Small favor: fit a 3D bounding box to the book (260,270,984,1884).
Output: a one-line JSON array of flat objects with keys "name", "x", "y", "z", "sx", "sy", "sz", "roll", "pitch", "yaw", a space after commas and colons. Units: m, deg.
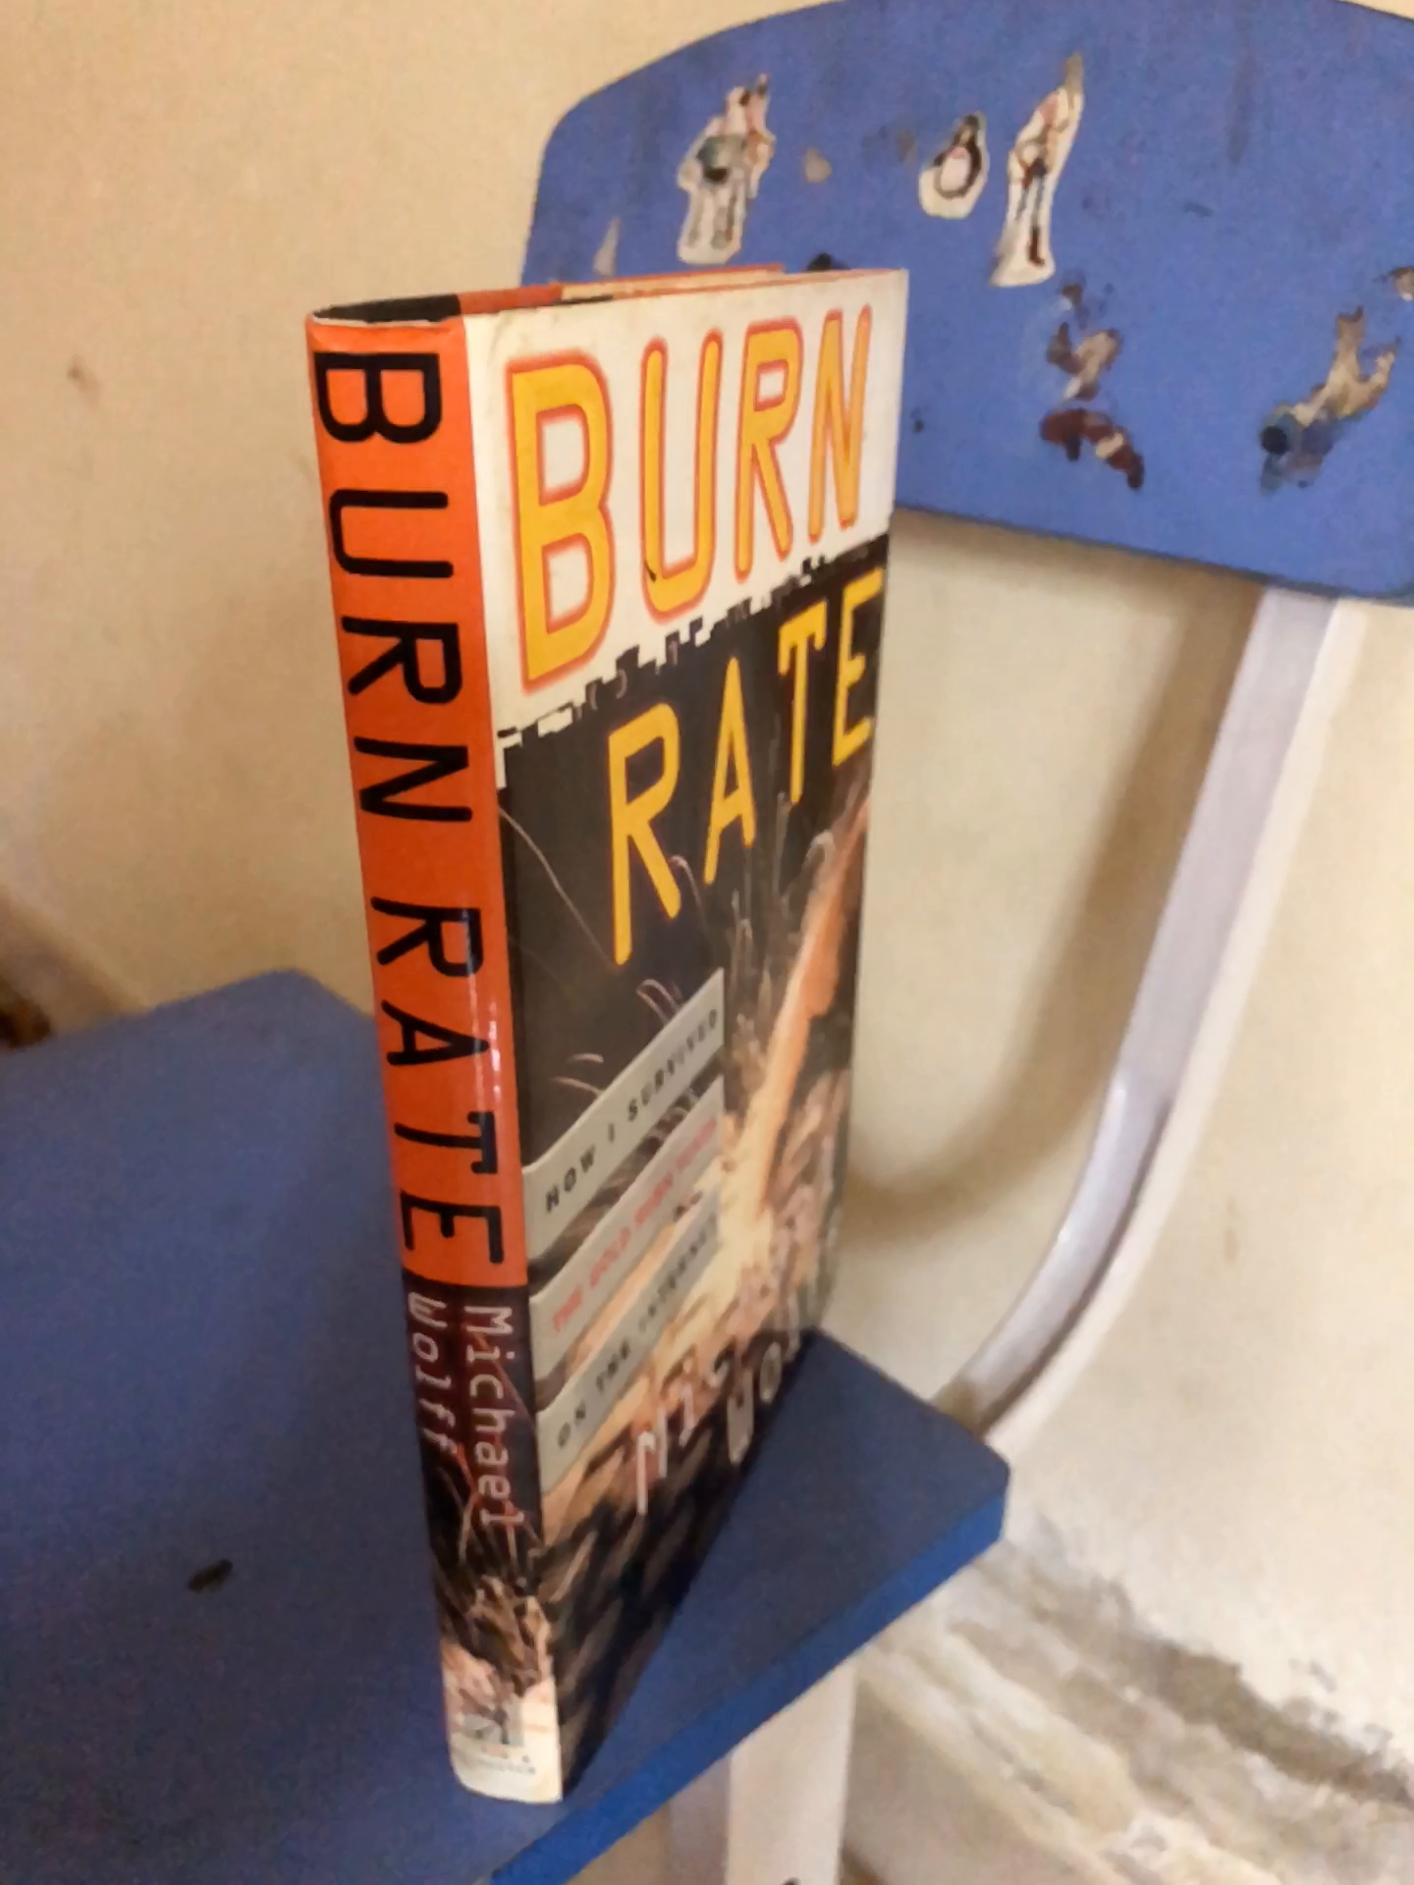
[{"name": "book", "x": 0.003, "y": 0.002, "z": 0.305, "sx": 0.040, "sy": 0.239, "sz": 0.201, "roll": 9, "pitch": 24, "yaw": 19}]
